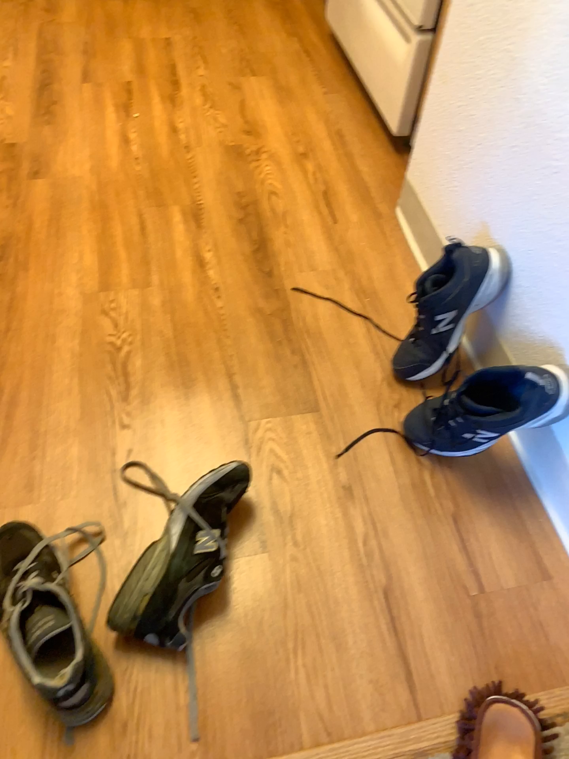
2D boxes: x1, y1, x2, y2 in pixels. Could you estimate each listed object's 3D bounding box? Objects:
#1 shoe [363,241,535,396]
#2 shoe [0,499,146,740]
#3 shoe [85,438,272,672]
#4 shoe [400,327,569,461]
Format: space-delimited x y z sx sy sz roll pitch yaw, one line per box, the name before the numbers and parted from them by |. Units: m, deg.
shoe | 0.327 -0.121 1.175 0.180 0.259 0.151 -7 48 -43
shoe | -0.352 0.370 0.909 0.120 0.169 0.301 -28 60 -24
shoe | -0.142 0.251 0.871 0.110 0.110 0.301 21 54 19
shoe | 0.318 0.034 0.888 0.110 0.260 0.110 5 64 -33
